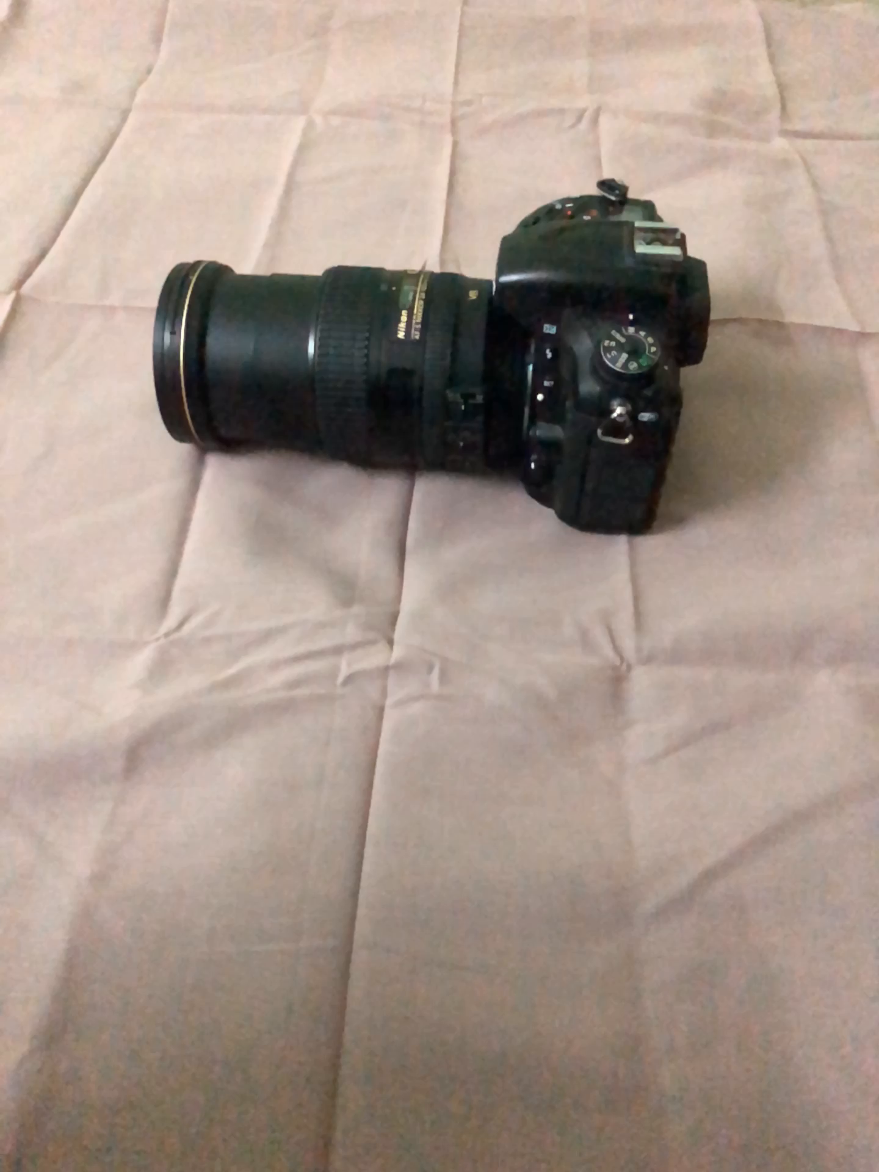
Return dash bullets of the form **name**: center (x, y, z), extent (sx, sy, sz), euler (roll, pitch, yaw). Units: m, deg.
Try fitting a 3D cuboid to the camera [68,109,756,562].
- **camera**: center (-0.005, -0.107, 0.411), extent (0.231, 0.109, 0.139), euler (5, 52, 3)
